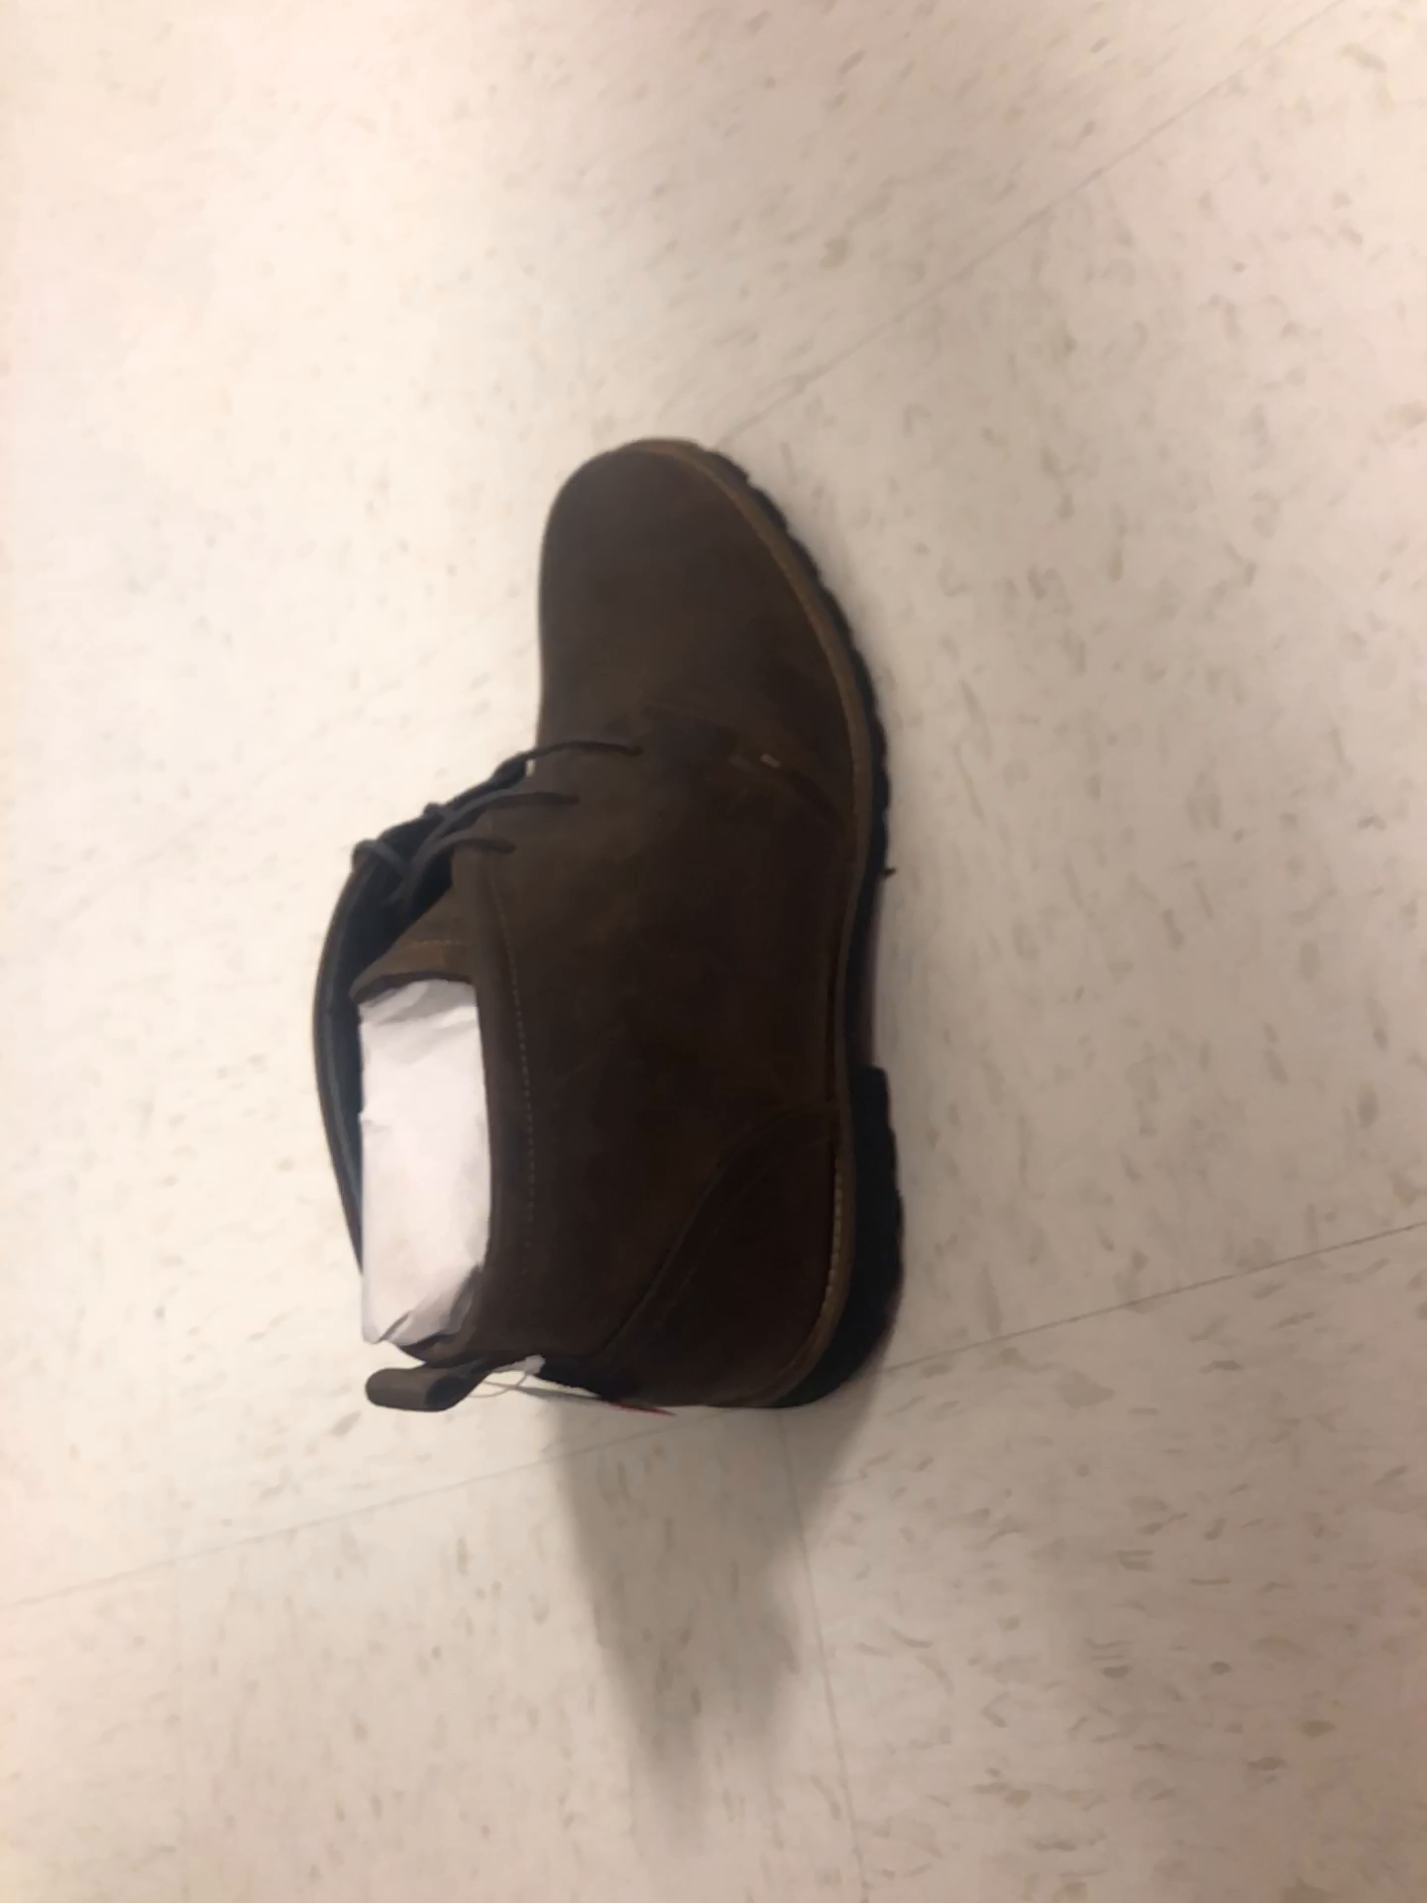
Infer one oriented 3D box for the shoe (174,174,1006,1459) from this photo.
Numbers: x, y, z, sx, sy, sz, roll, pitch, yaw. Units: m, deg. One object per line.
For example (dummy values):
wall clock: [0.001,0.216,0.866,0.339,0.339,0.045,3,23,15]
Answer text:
shoe: [-0.038,-0.021,0.429,0.115,0.167,0.283,-22,66,35]
